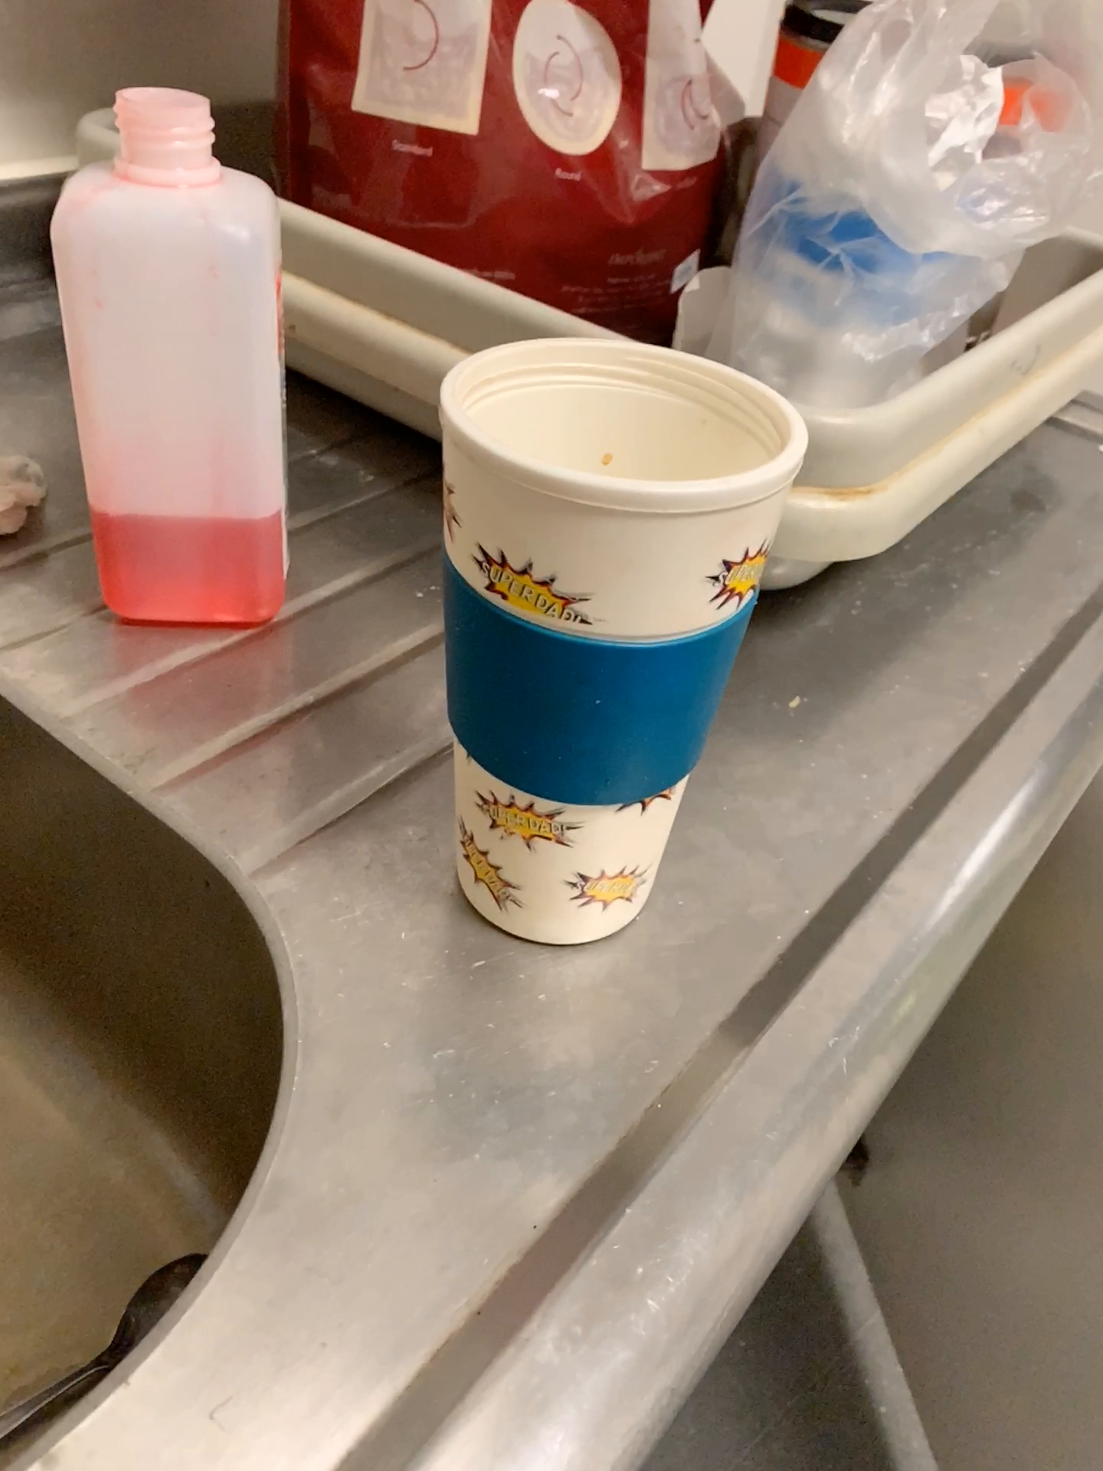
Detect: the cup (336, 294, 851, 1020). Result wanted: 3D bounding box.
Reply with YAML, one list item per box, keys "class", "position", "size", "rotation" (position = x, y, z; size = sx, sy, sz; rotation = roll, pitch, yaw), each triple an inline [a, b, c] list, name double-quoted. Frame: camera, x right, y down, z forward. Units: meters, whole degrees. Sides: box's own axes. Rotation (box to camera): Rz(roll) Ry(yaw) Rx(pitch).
- class: "cup"
  position: [0.003, -0.023, 0.332]
  size: [0.093, 0.167, 0.090]
  rotation: [5, 38, -4]
